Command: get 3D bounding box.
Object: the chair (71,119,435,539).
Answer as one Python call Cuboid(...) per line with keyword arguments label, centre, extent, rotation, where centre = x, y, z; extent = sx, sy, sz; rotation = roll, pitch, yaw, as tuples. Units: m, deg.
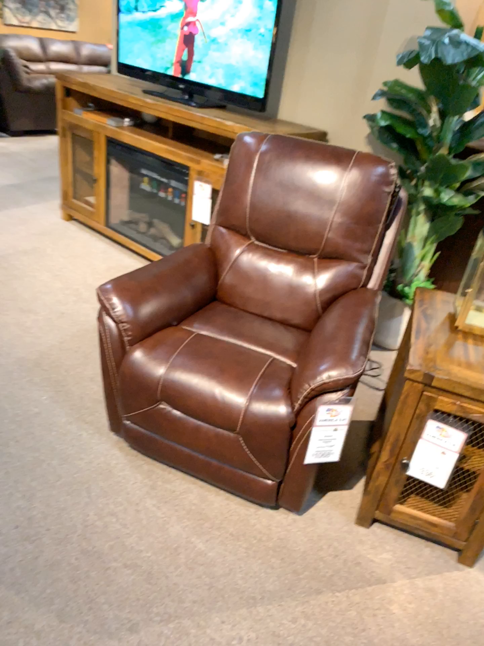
Cuboid(label="chair", centre=(0.066, -0.086, 1.755), extent=(0.849, 0.974, 0.916), rotation=(18, 31, 16))
